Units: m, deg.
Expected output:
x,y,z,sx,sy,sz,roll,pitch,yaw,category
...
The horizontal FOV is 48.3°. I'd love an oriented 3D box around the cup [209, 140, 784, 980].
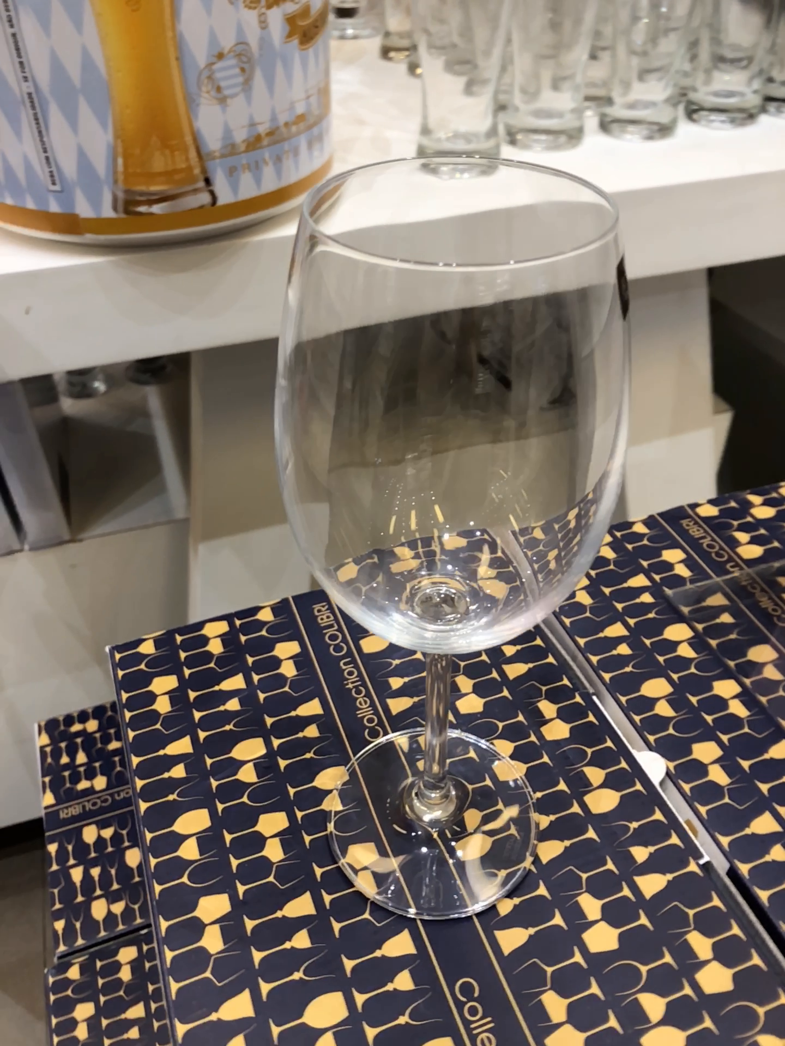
x,y,z,sx,sy,sz,roll,pitch,yaw,category
0.014,0.021,0.240,0.090,0.208,0.091,0,39,0,cup
